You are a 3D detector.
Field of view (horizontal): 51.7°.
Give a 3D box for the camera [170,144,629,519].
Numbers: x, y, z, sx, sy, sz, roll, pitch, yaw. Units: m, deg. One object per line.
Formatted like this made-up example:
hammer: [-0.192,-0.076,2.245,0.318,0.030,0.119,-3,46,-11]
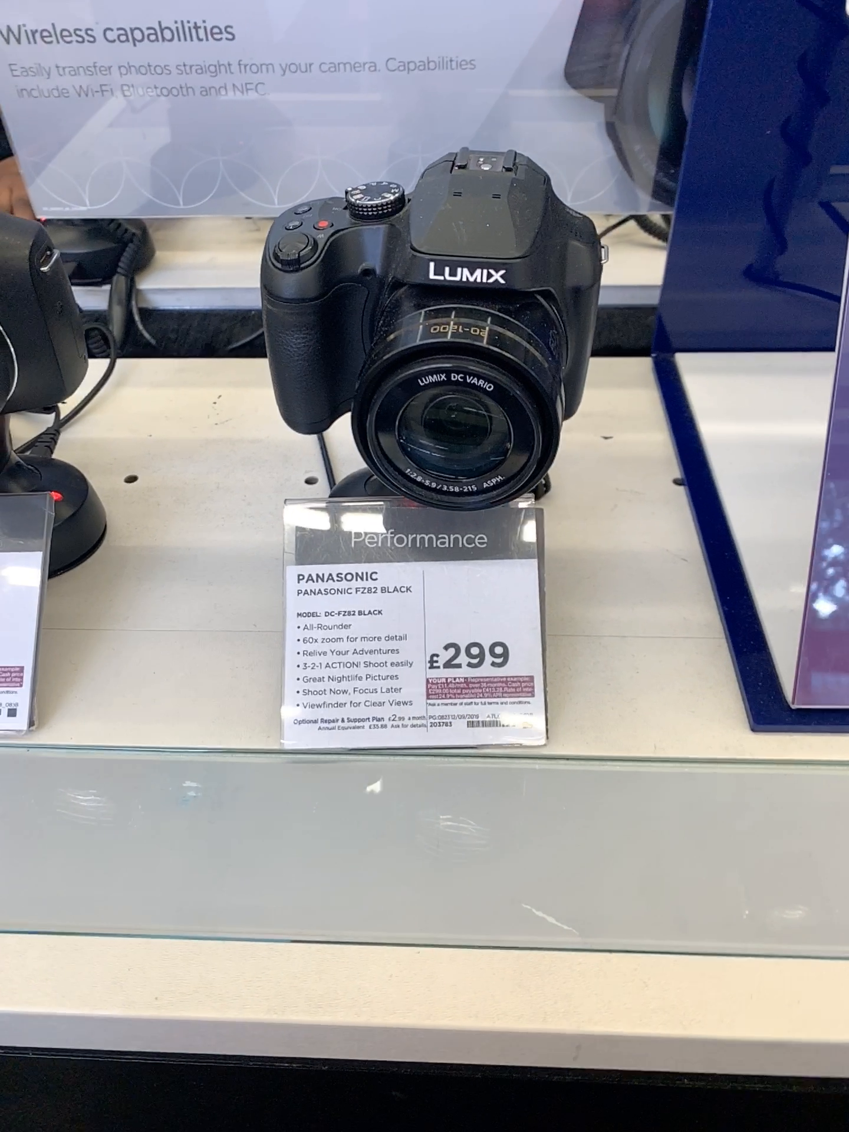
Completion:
camera: [-0.001,-0.090,0.316,0.130,0.079,0.121,3,44,5]
